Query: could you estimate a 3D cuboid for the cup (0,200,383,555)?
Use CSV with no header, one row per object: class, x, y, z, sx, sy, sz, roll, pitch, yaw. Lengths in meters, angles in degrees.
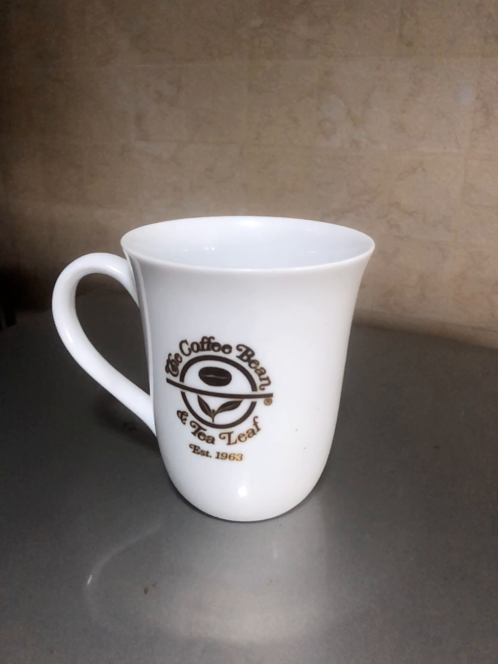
cup,-0.016,0.009,0.236,0.130,0.109,0.091,5,21,10
